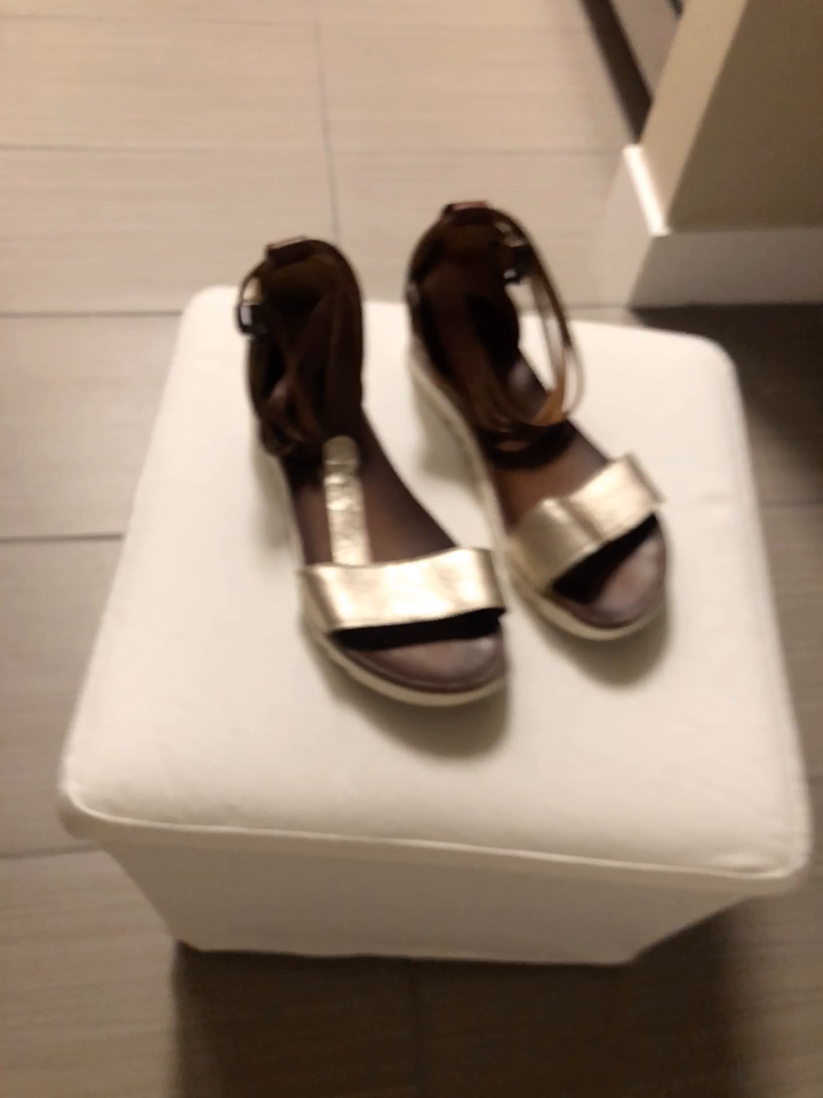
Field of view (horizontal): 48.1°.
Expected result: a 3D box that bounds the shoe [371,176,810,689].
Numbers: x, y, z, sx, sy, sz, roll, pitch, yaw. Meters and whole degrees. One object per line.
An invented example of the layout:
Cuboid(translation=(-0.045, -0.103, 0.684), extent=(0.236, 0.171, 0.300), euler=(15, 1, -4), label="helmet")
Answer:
Cuboid(translation=(0.078, -0.073, 0.501), extent=(0.110, 0.090, 0.260), euler=(-17, 62, -15), label="shoe")

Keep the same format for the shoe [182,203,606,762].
Cuboid(translation=(-0.022, -0.044, 0.466), extent=(0.110, 0.090, 0.260), euler=(-17, 62, -15), label="shoe")
